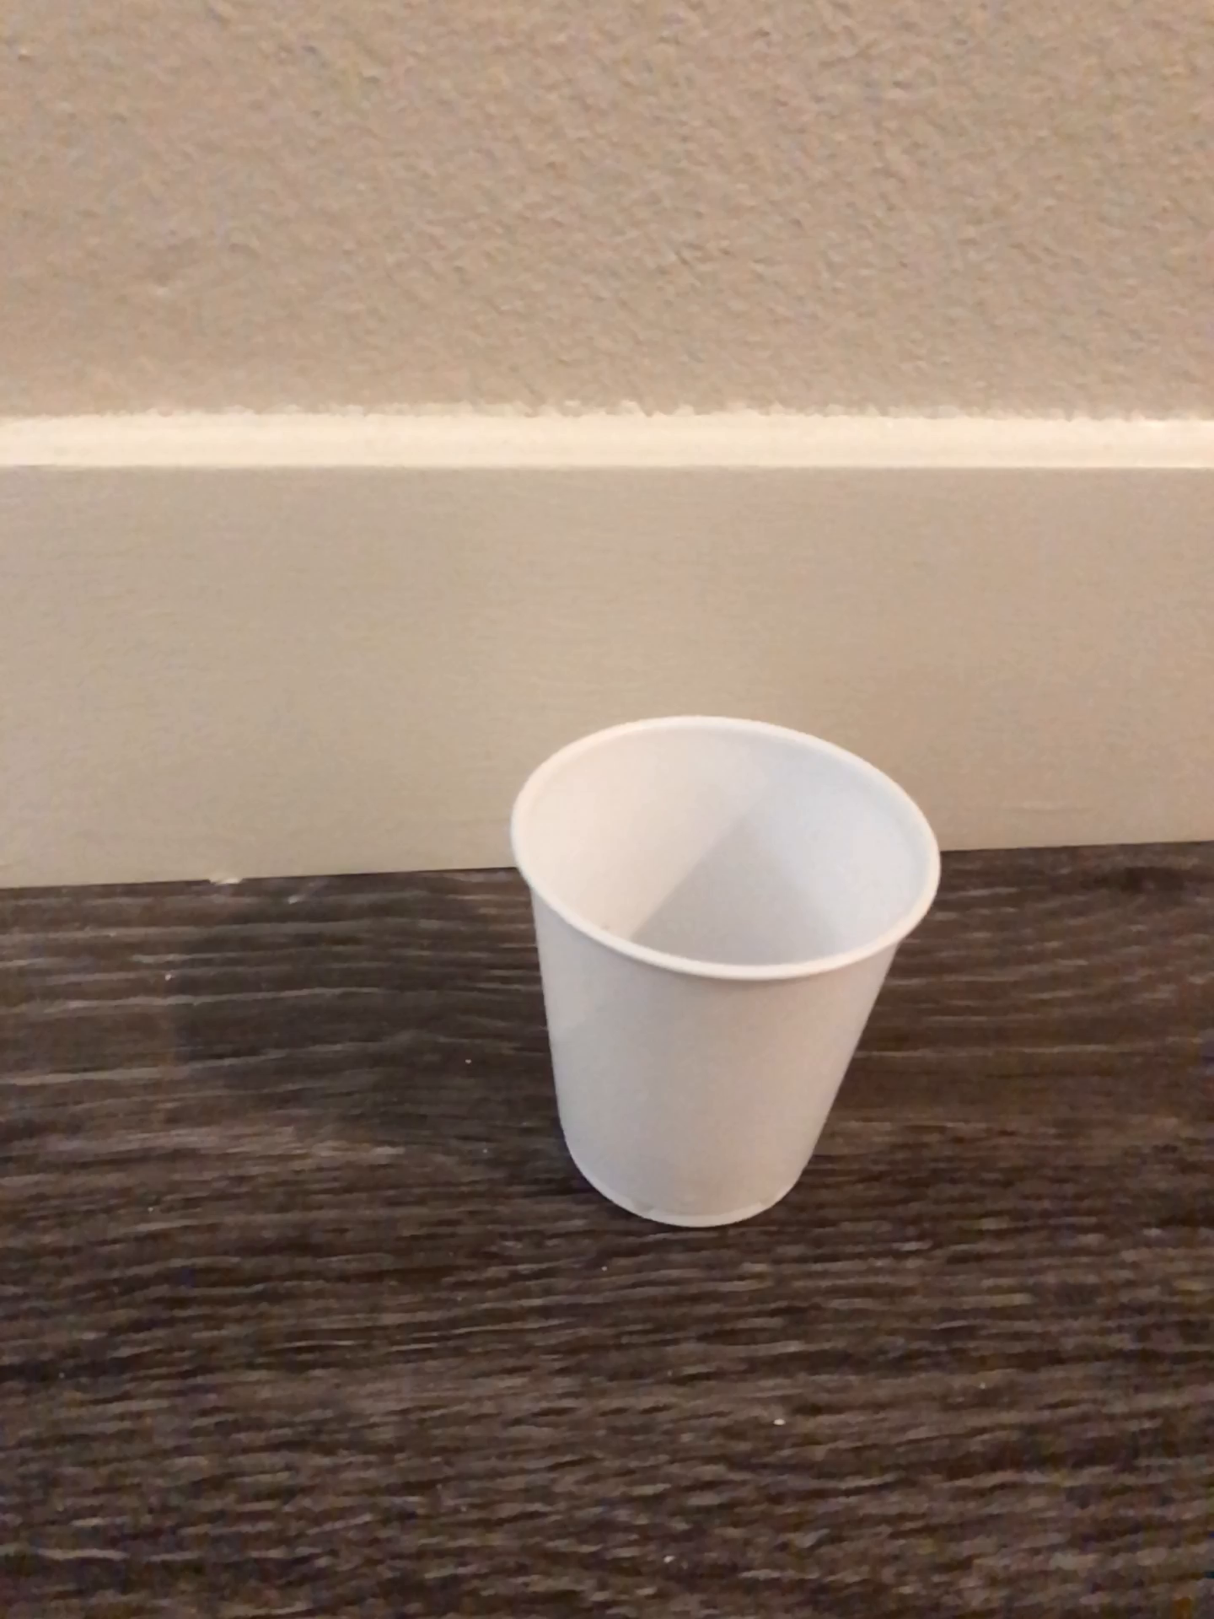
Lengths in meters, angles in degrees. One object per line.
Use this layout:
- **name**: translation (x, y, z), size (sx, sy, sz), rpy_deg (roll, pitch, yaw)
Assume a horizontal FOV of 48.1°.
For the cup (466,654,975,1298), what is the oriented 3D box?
- **cup**: translation (0.017, 0.022, 0.202), size (0.060, 0.060, 0.060), rpy_deg (2, 35, -2)
